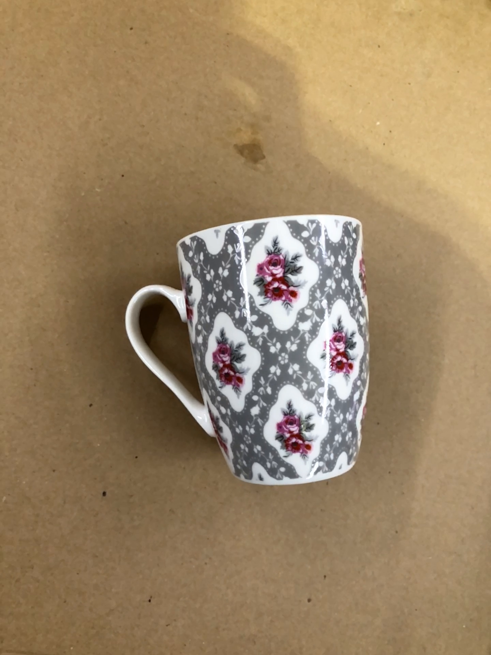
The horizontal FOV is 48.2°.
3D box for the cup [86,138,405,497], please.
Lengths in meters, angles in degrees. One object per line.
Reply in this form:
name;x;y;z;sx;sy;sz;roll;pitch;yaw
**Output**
cup;0.007;0.001;0.223;0.100;0.080;0.110;-7;88;16
